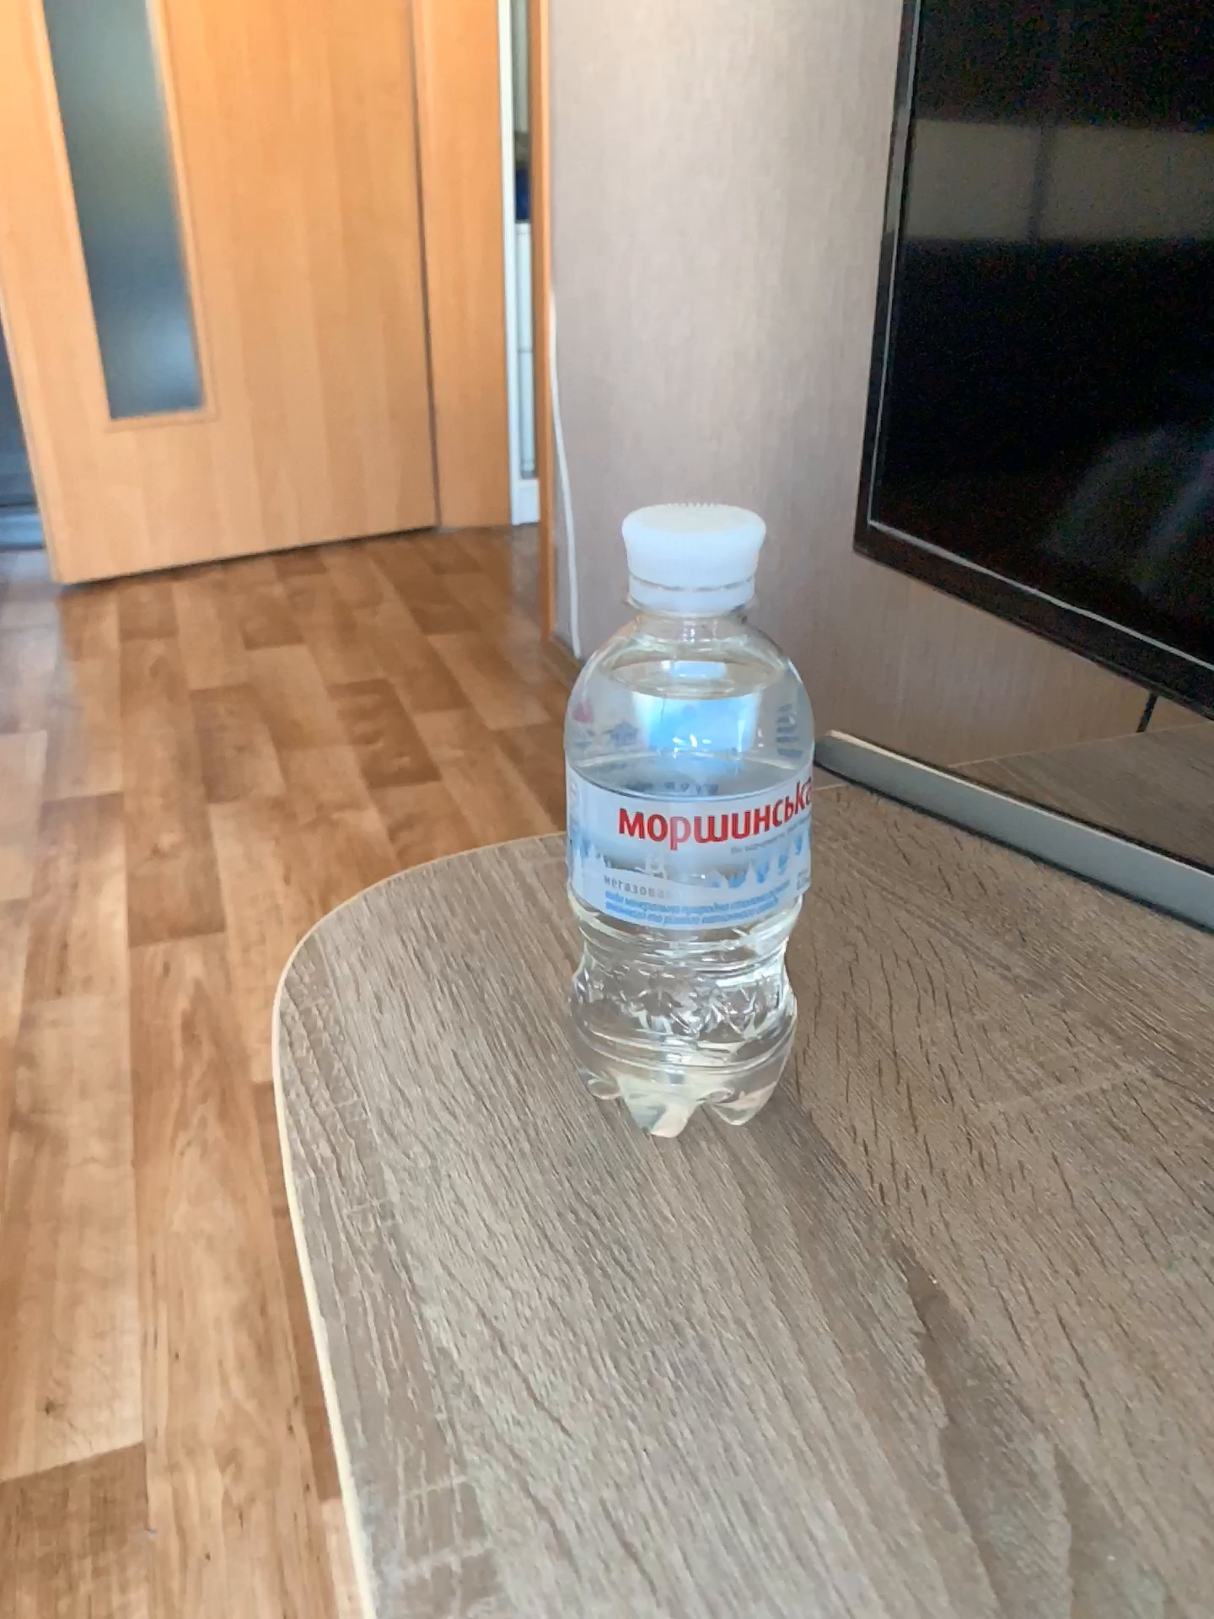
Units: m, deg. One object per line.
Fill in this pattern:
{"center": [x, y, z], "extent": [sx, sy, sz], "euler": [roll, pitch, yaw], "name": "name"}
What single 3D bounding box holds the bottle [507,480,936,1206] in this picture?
{"center": [0.020, 0.006, 0.299], "extent": [0.070, 0.149, 0.070], "euler": [0, 27, 0], "name": "bottle"}
